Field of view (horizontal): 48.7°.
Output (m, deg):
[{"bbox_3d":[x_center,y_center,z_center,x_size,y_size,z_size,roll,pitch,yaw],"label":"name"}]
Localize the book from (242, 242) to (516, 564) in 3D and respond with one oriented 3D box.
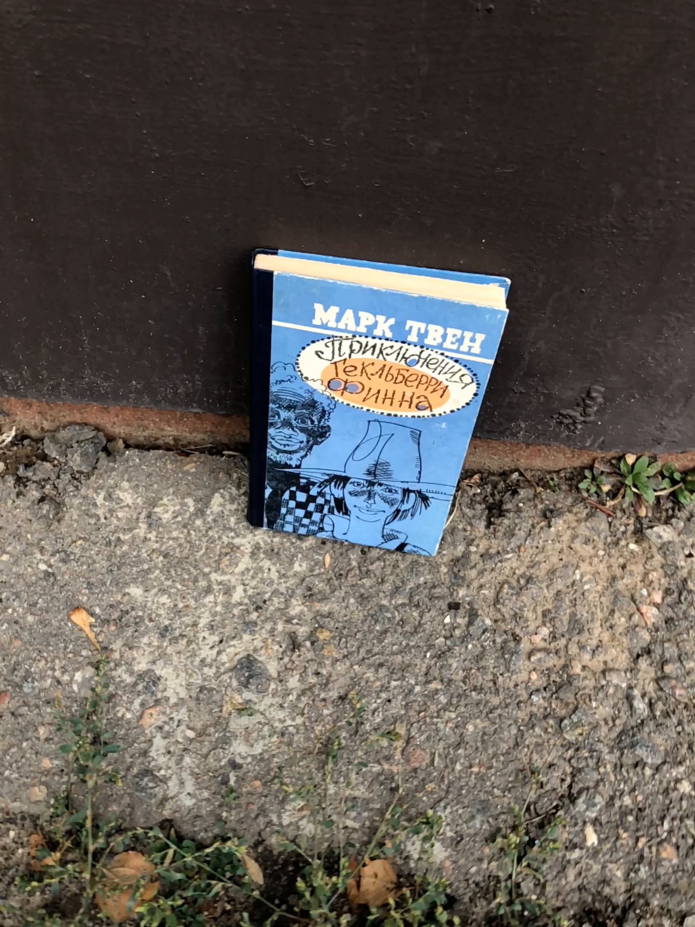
[{"bbox_3d":[0.010,-0.024,0.436,0.130,0.186,0.030,9,44,4],"label":"book"}]
